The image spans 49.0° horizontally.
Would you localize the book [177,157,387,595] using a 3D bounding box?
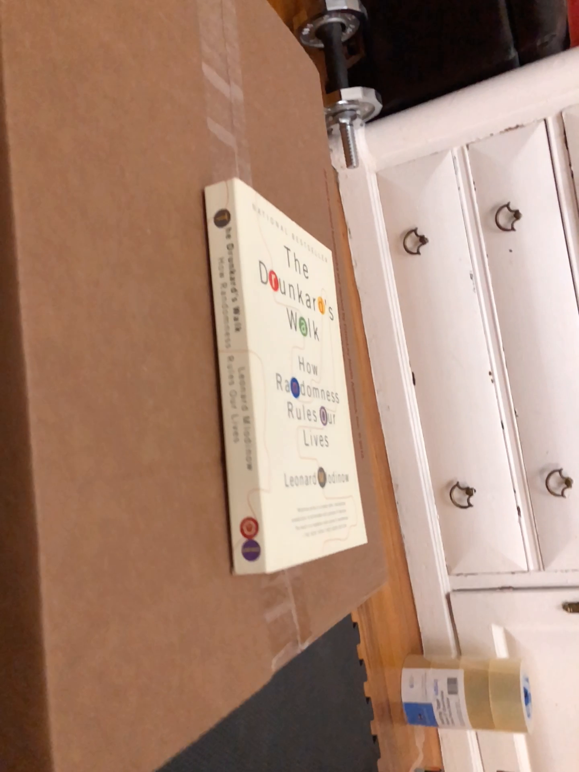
[{"bbox_3d":[0.002,-0.001,0.370,0.141,0.040,0.210,13,69,-62],"label":"book"}]
